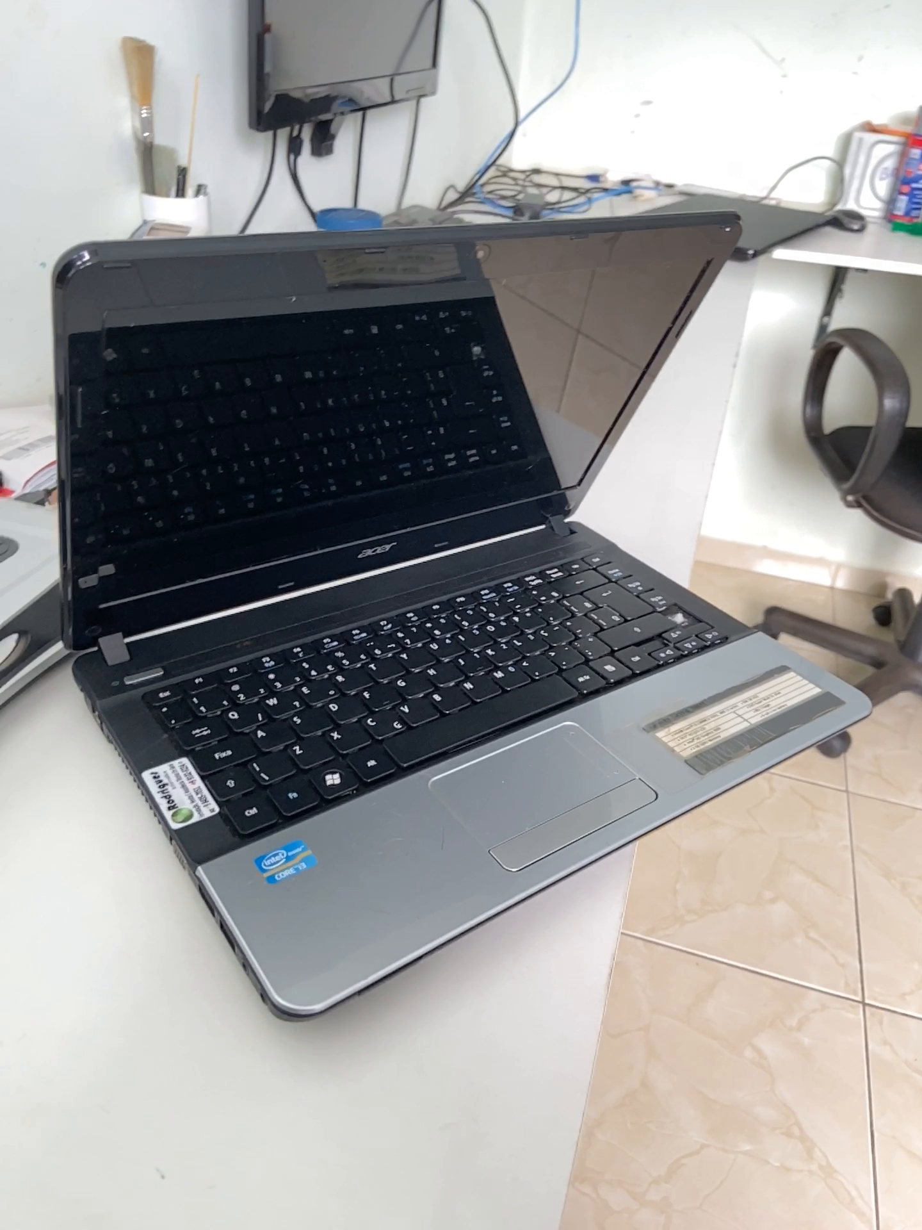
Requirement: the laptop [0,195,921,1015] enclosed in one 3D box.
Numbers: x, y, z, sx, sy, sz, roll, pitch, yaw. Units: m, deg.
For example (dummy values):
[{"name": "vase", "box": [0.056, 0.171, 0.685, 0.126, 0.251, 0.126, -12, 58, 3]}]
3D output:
[{"name": "laptop", "box": [0.012, -0.053, 0.428, 0.327, 0.211, 0.239, -18, 38, -32]}]
